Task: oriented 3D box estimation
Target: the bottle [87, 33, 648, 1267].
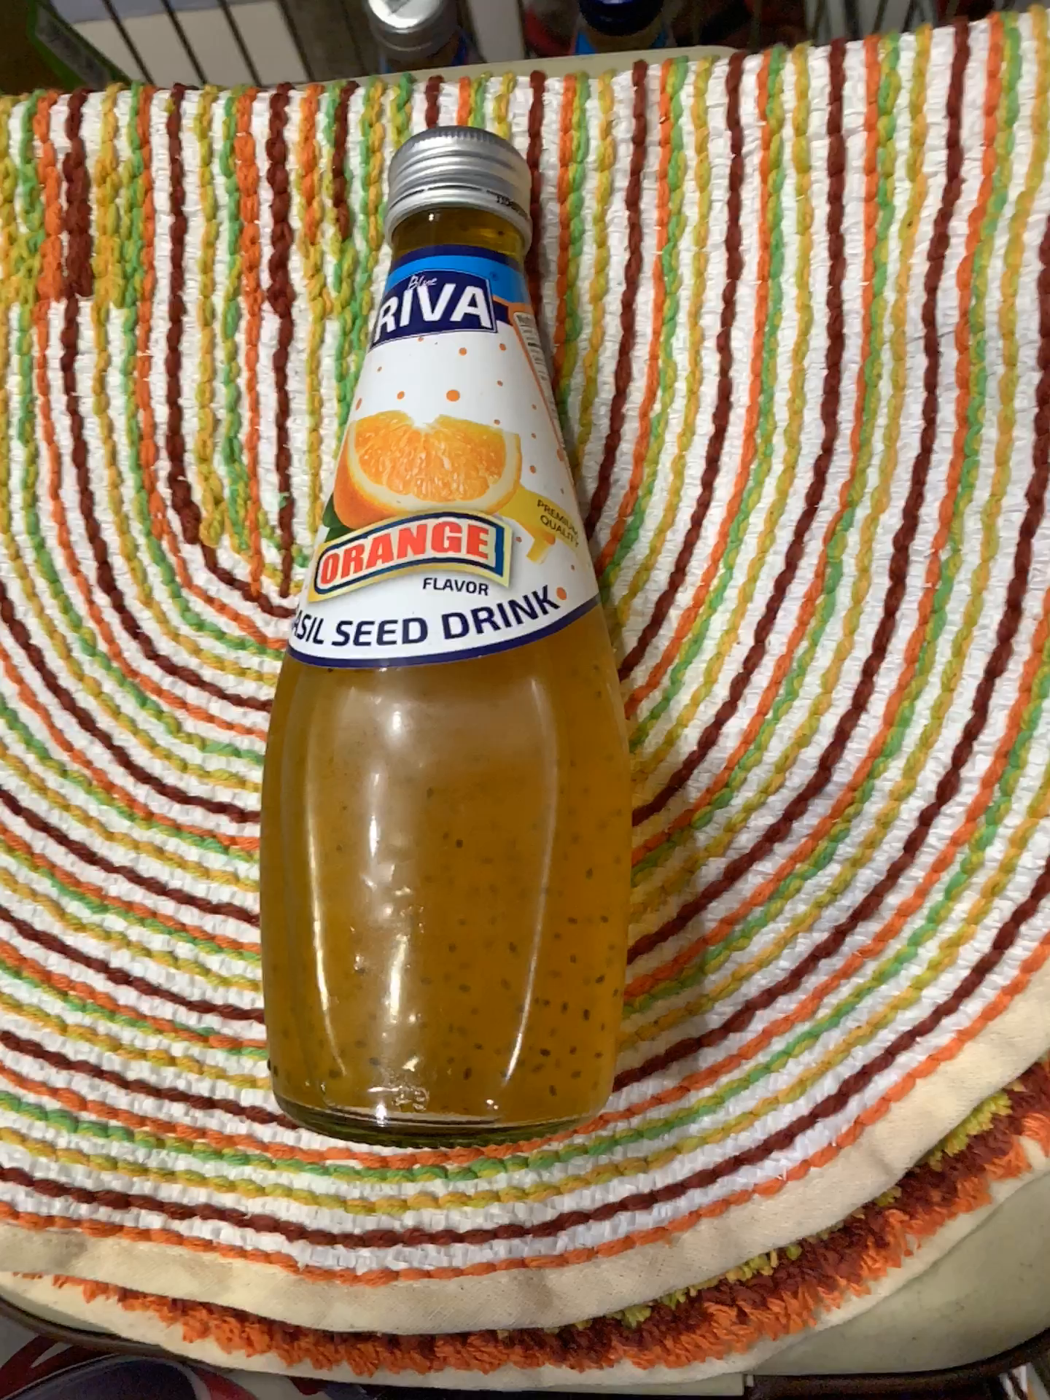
[{"bbox_3d":[-0.017,-0.004,0.171,0.070,0.050,0.160,0,96,8],"label":"bottle"}]
